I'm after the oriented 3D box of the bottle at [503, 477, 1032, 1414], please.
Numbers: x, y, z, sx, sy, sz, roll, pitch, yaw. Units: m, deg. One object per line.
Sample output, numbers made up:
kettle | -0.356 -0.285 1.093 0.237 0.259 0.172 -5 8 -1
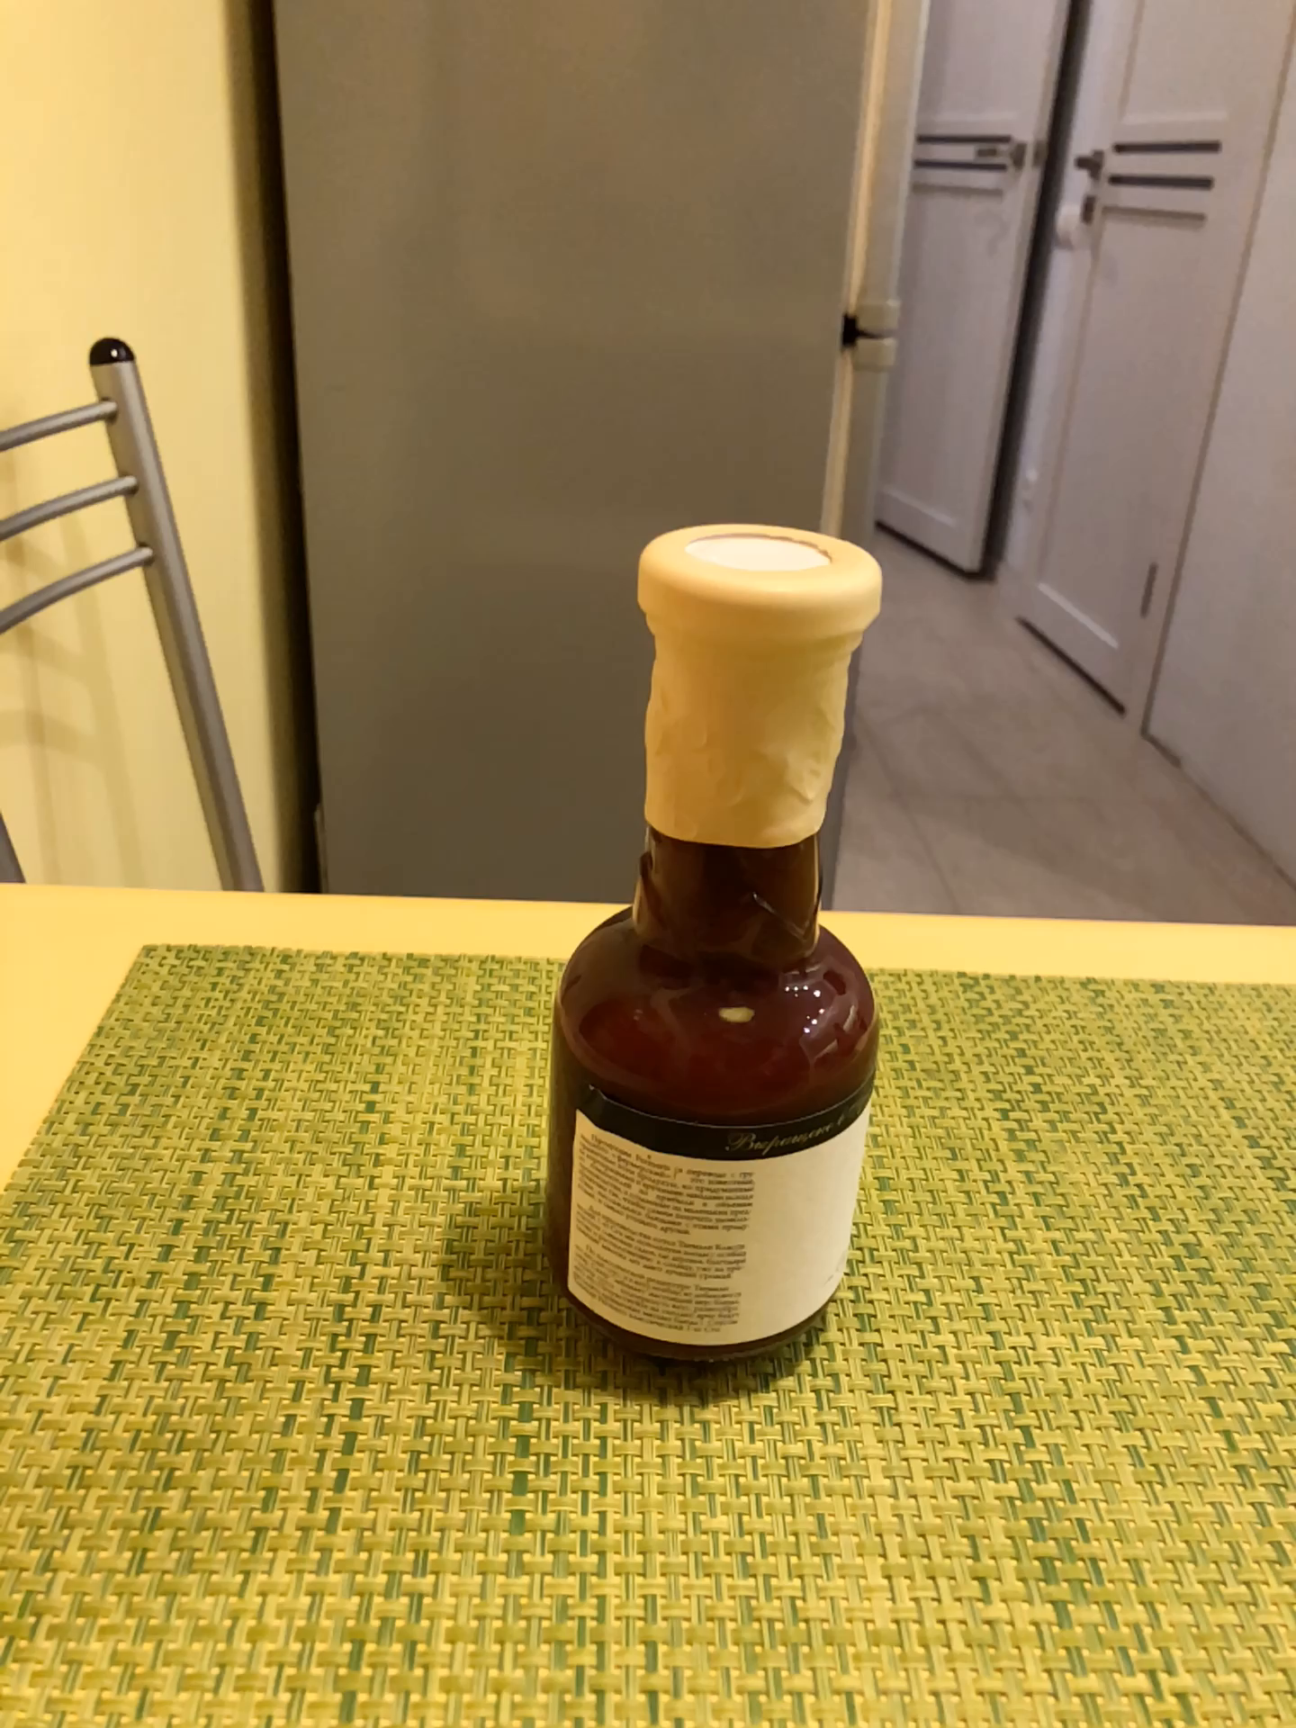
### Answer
bottle | 0.012 0.015 0.273 0.070 0.159 0.070 3 25 -1
